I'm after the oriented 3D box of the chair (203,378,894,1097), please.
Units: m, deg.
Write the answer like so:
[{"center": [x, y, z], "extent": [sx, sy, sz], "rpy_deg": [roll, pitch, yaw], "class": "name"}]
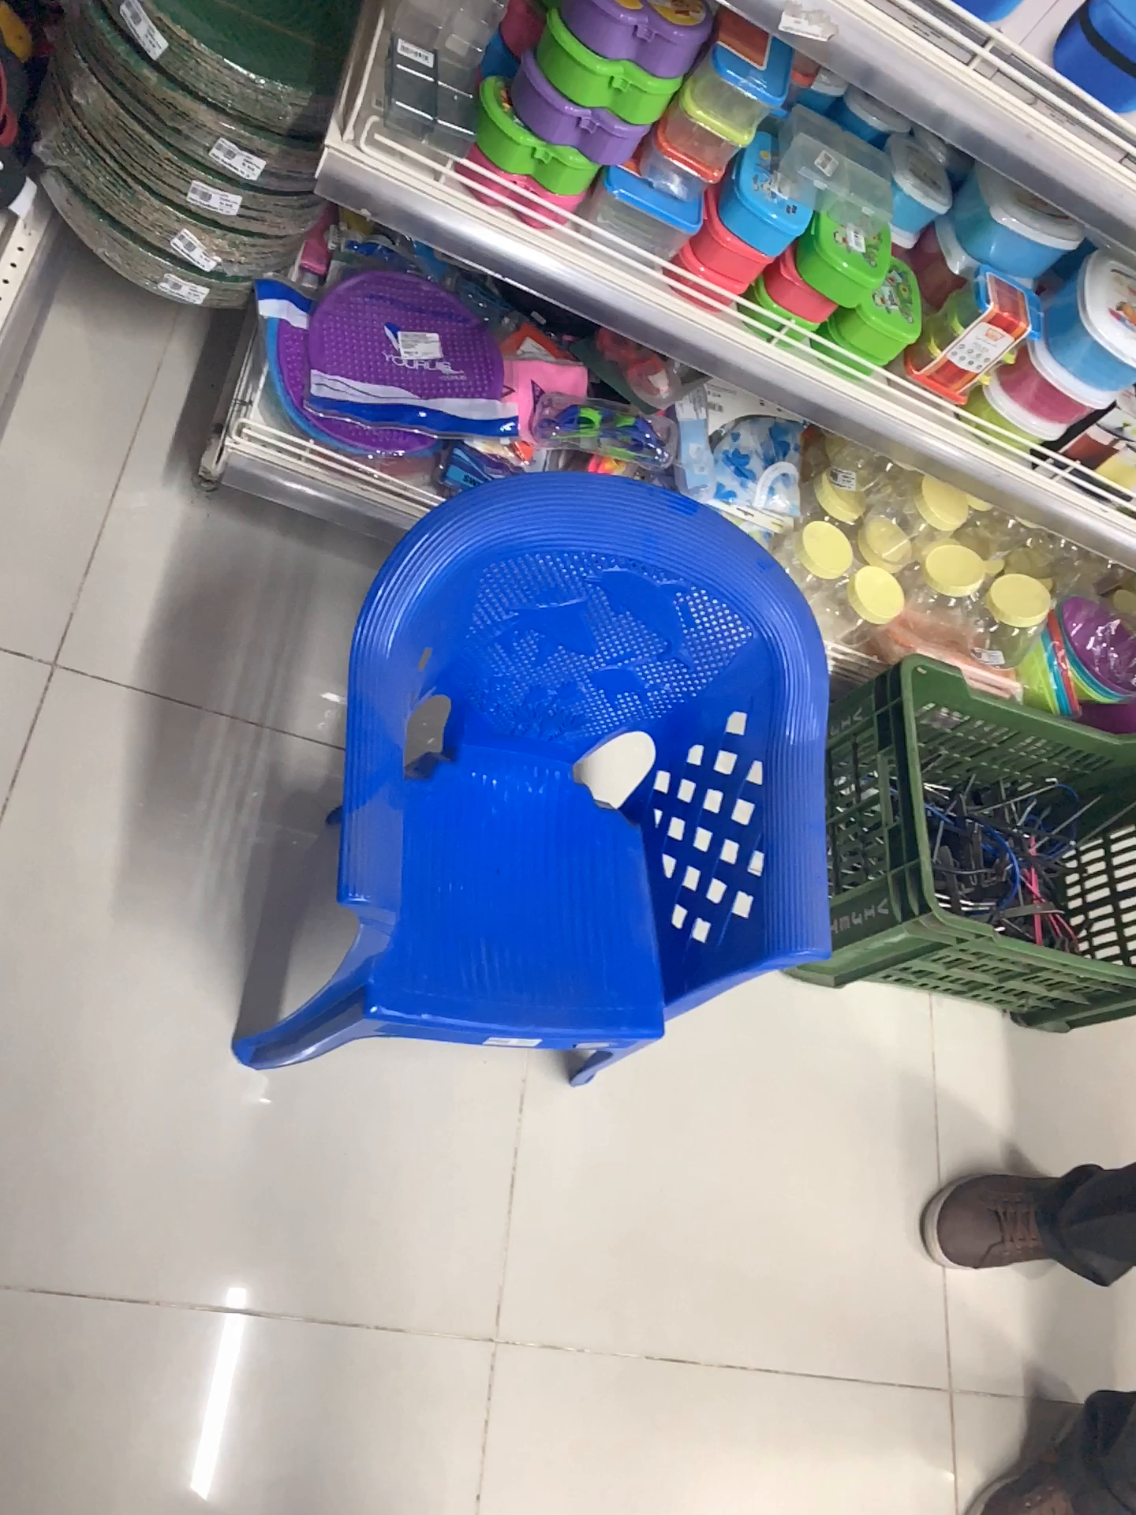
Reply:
[{"center": [-0.053, 0.039, 1.064], "extent": [0.421, 0.469, 0.450], "rpy_deg": [10, 63, -24], "class": "chair"}]
